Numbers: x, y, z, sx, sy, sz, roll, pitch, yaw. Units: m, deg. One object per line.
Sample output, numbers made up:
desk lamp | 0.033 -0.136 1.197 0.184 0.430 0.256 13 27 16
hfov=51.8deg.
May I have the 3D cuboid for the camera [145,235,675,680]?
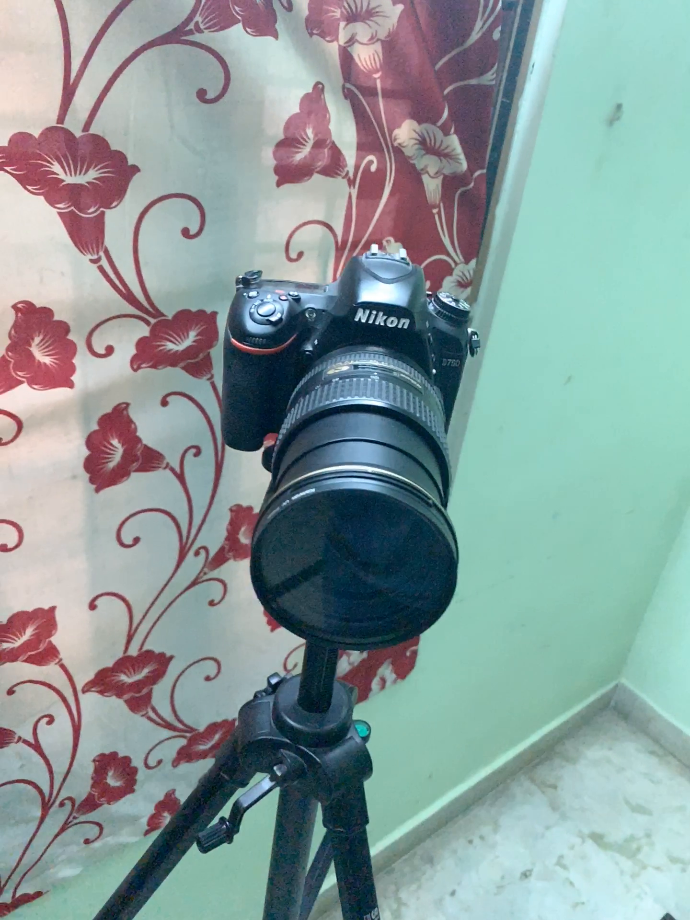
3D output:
camera | 0.015 -0.014 0.330 0.172 0.122 0.171 6 29 -4
